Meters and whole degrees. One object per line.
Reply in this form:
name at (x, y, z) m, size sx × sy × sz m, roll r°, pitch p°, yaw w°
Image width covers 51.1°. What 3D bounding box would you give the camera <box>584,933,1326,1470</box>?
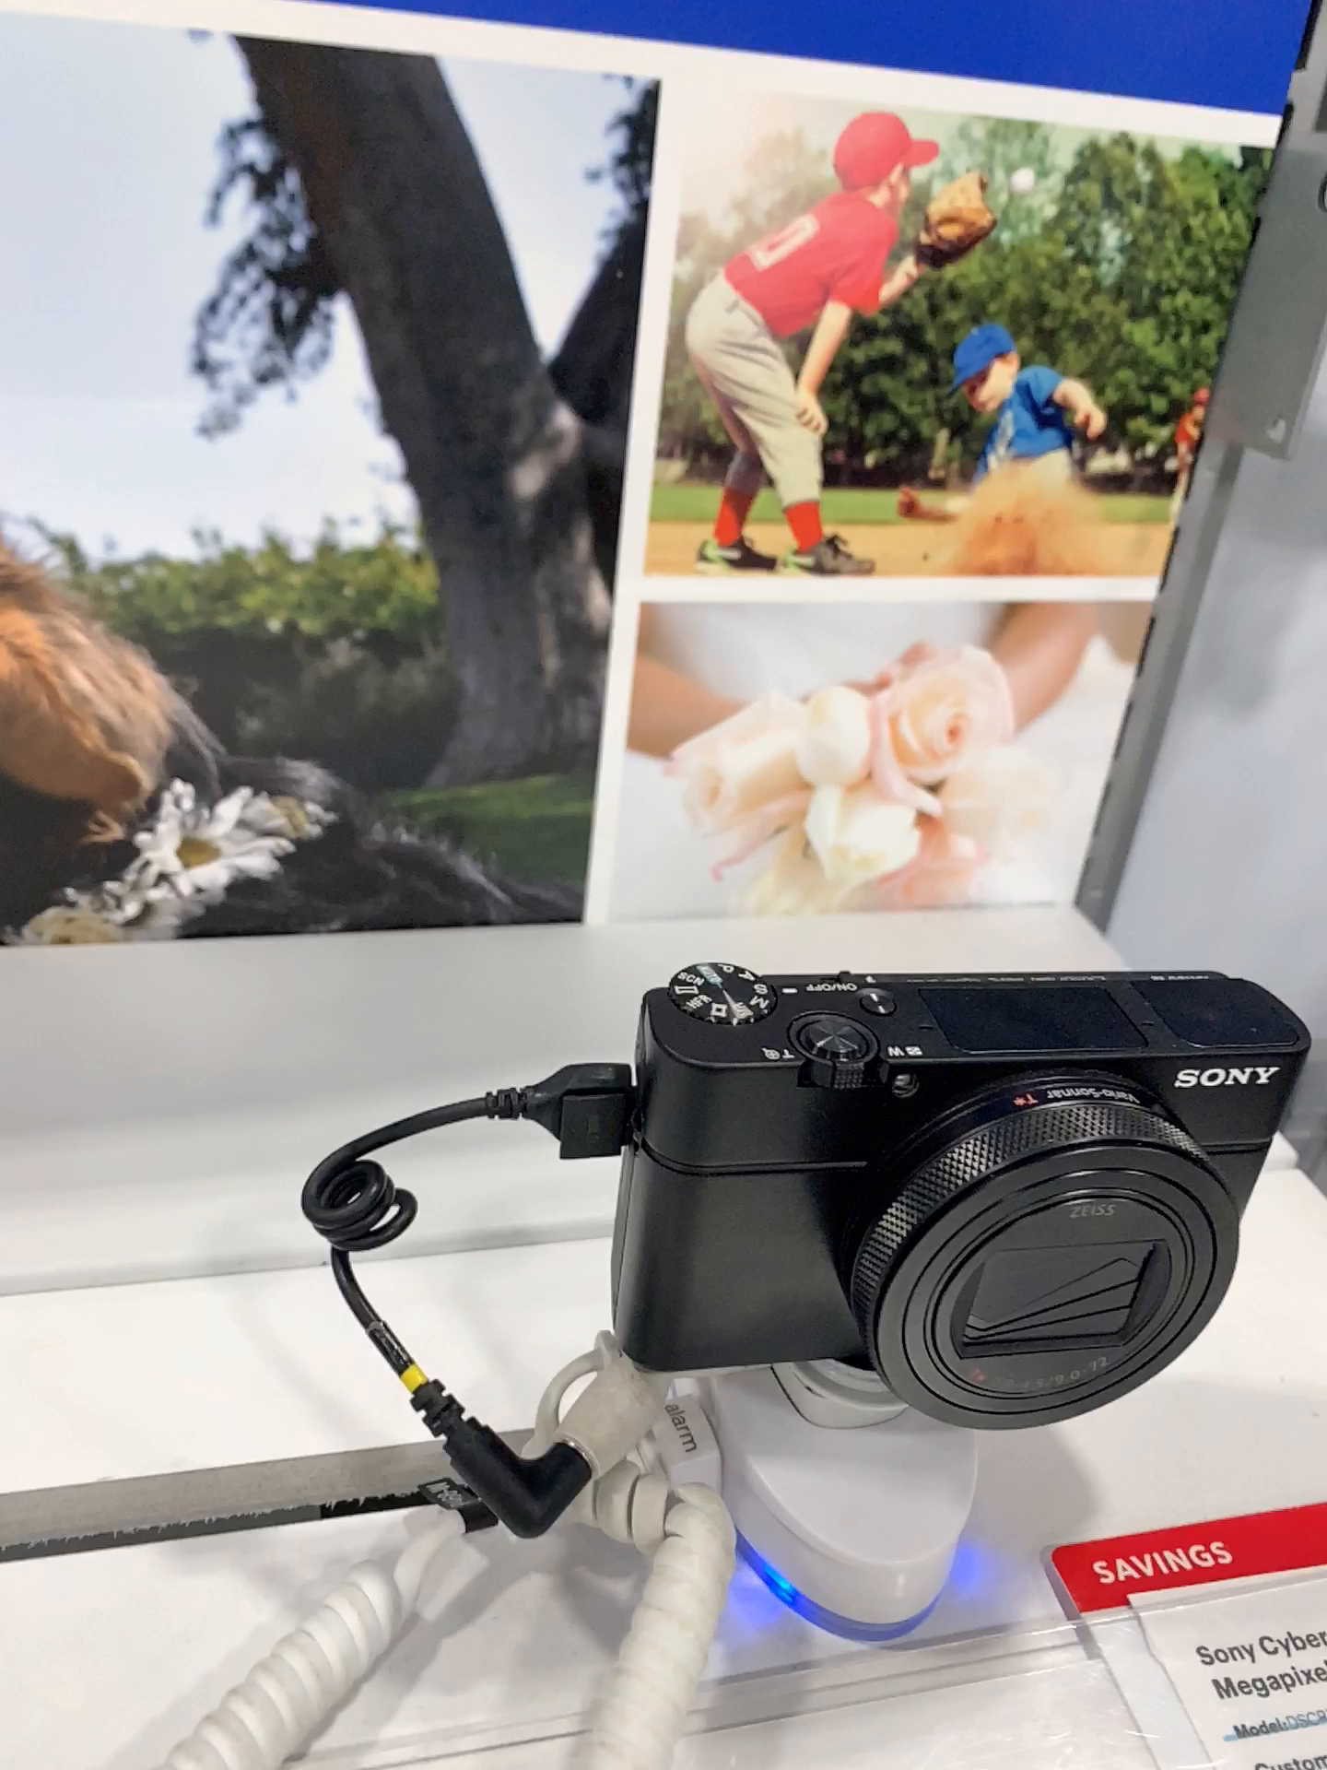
camera at (0.045, 0.045, 0.210) m, size 0.105 × 0.060 × 0.043 m, roll 0°, pitch 27°, yaw -13°
